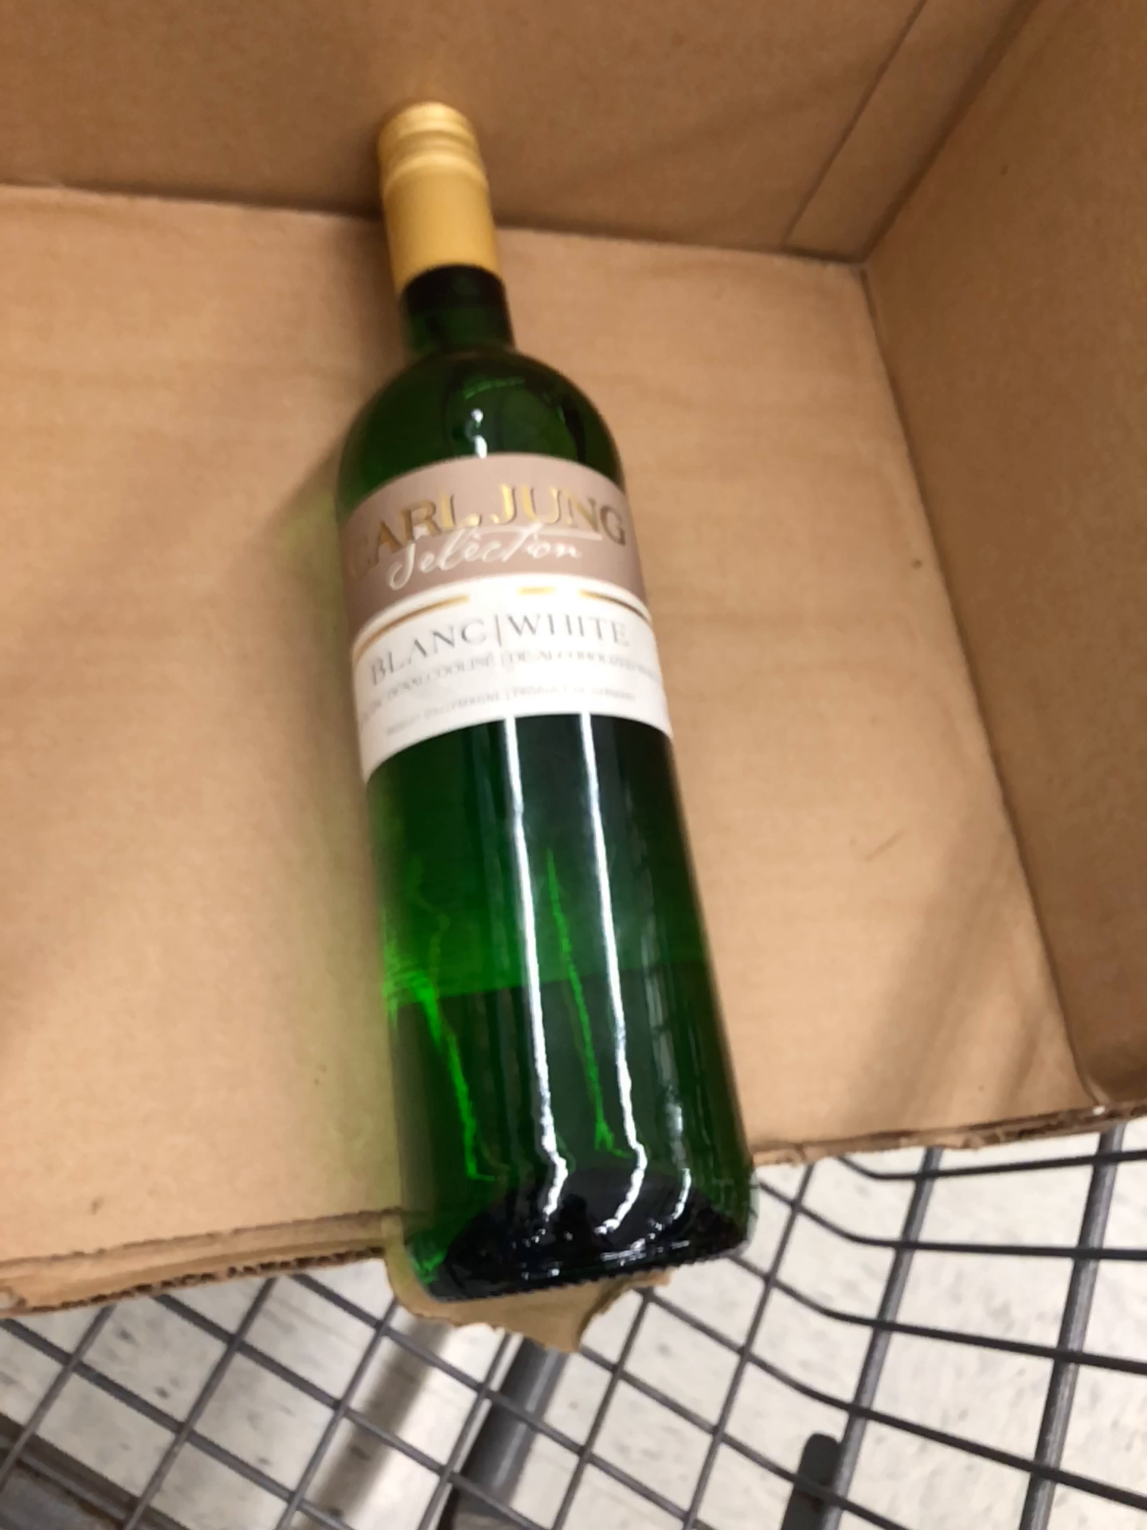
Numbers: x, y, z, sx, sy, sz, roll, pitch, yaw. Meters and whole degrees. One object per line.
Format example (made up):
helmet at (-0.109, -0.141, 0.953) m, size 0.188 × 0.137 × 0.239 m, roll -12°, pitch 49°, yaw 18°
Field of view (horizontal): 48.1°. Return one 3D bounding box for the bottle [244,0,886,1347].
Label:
bottle at (-0.019, -0.055, 0.300) m, size 0.080 × 0.100 × 0.331 m, roll -6°, pitch 71°, yaw -9°
